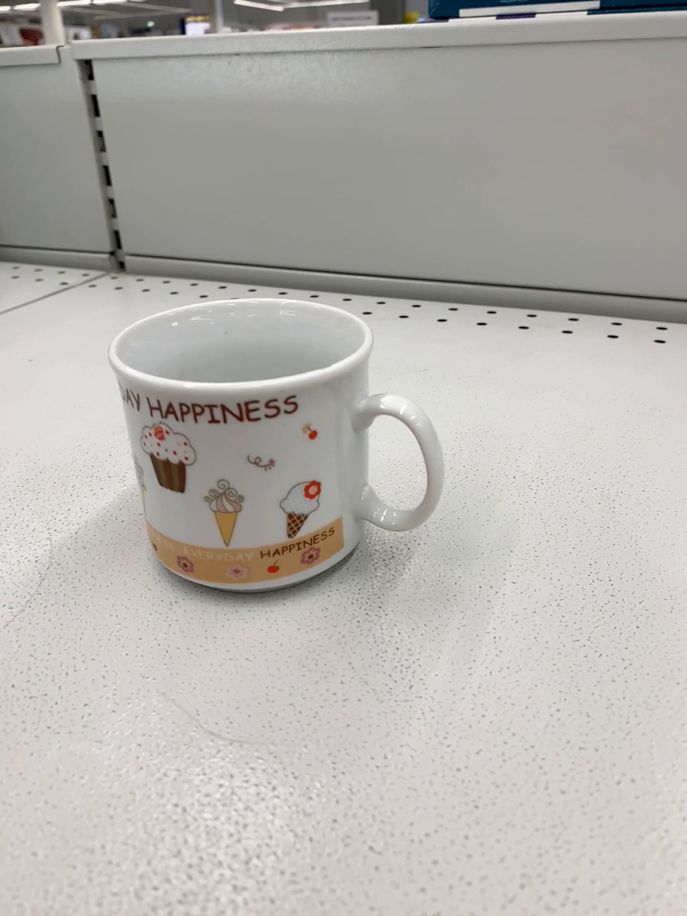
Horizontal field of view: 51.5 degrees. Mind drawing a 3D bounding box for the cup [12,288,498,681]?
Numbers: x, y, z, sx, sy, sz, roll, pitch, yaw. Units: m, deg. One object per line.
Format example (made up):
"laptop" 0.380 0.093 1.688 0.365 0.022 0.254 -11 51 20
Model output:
"cup" -0.020 -0.002 0.213 0.109 0.069 0.079 11 30 22
